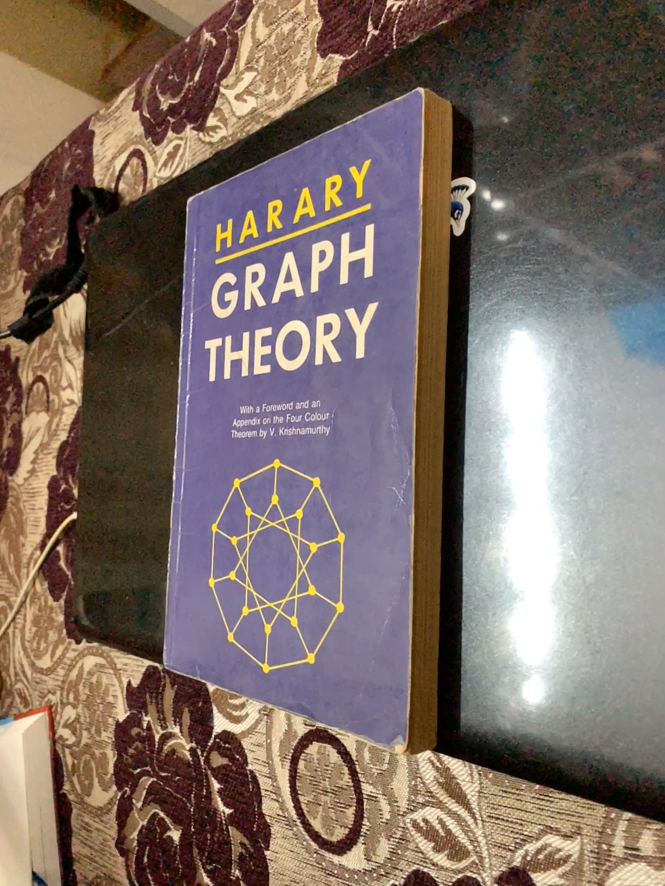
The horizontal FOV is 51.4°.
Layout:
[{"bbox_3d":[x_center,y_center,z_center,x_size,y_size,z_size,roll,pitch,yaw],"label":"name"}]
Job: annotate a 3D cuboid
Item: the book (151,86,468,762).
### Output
[{"bbox_3d":[-0.017,-0.007,0.260,0.141,0.020,0.200,-1,85,45],"label":"book"}]
